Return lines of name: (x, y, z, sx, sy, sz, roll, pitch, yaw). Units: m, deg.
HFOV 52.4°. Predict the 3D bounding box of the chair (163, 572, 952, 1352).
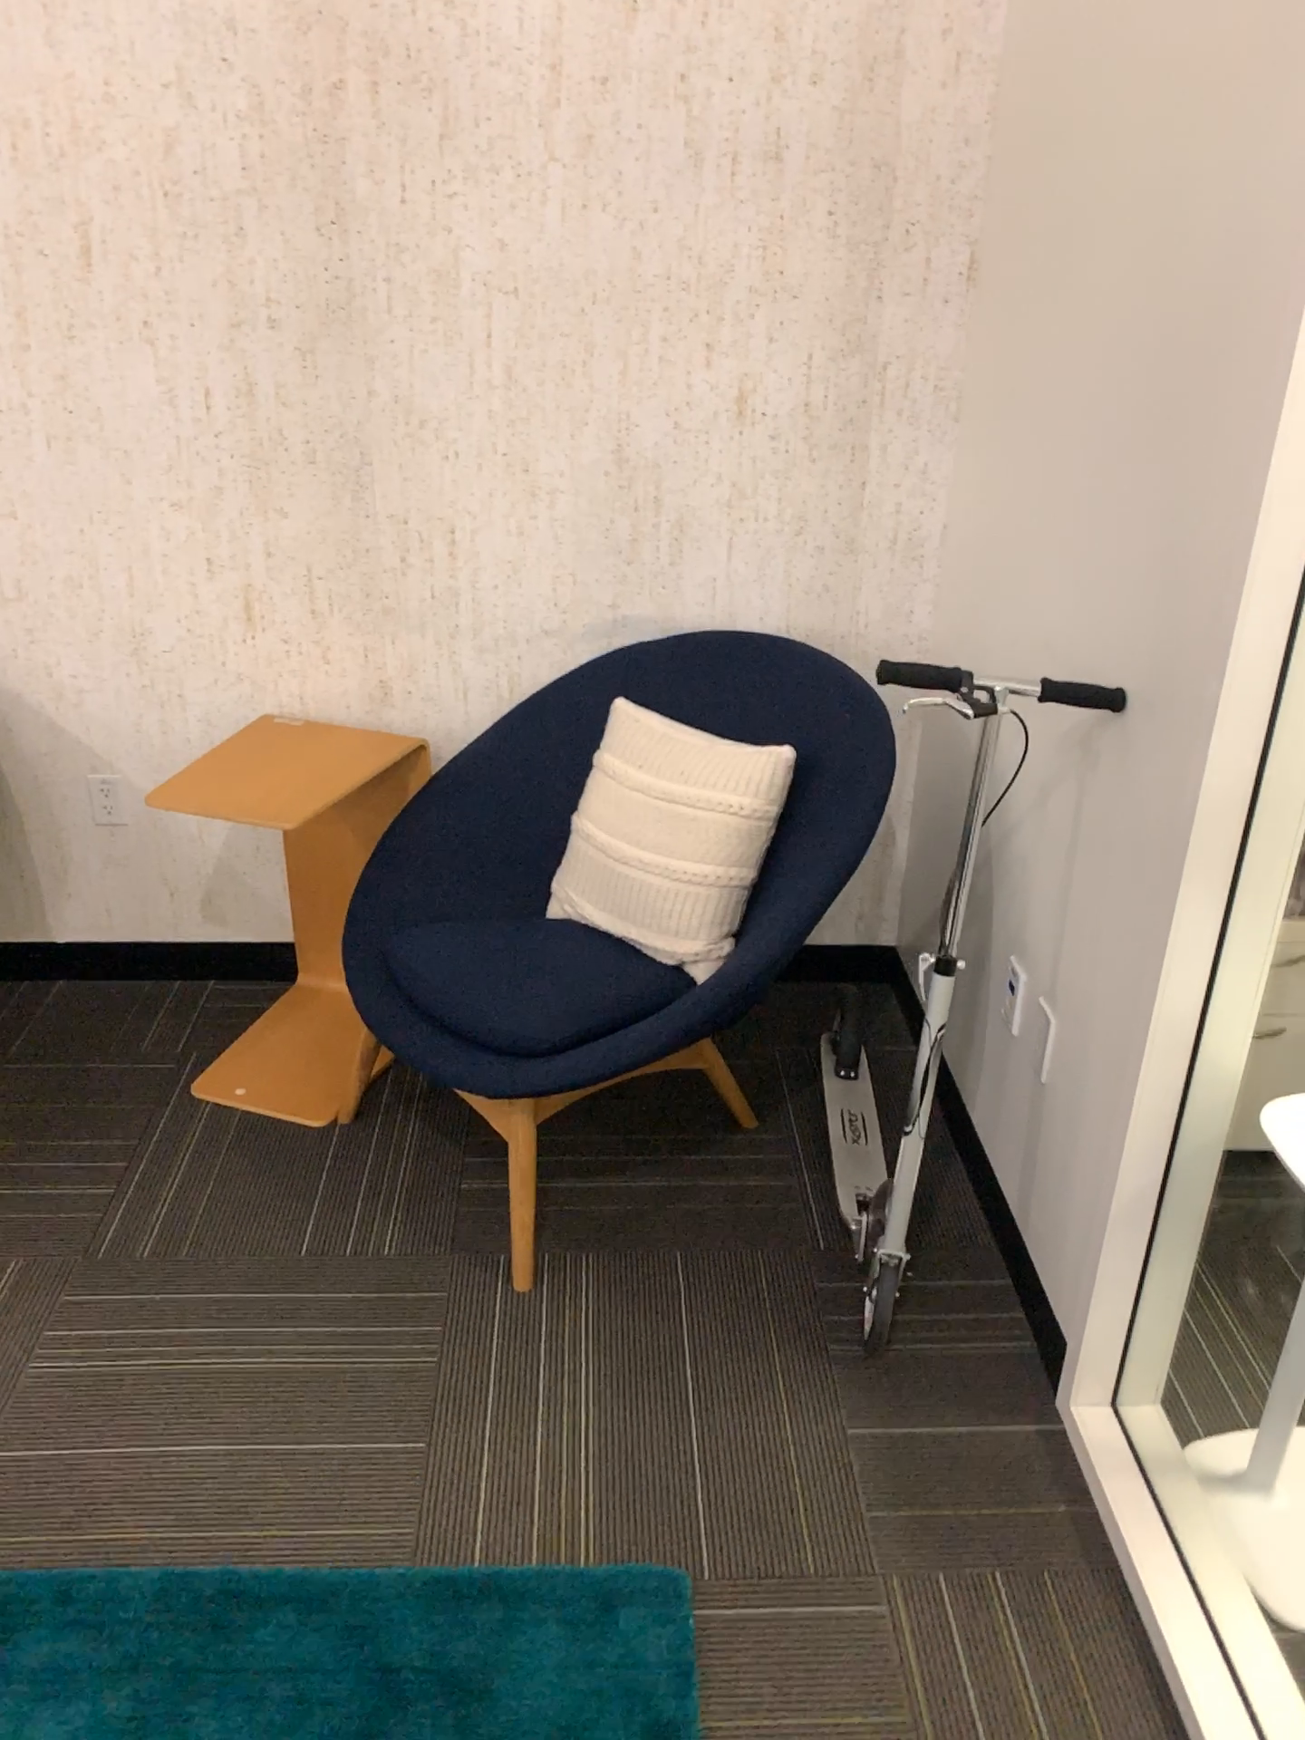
chair: (-0.168, 0.041, 2.267, 0.881, 0.816, 0.894, -20, 32, -38)
